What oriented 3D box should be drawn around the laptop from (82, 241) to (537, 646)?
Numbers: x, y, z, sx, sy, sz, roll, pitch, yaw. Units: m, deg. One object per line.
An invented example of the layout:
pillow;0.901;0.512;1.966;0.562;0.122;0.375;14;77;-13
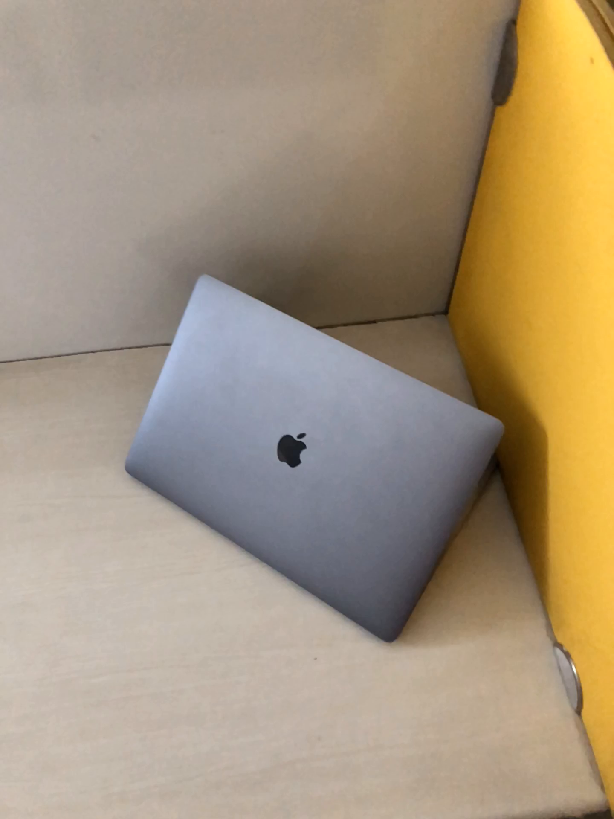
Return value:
laptop;0.003;0.023;0.683;0.345;0.152;0.236;29;63;18
